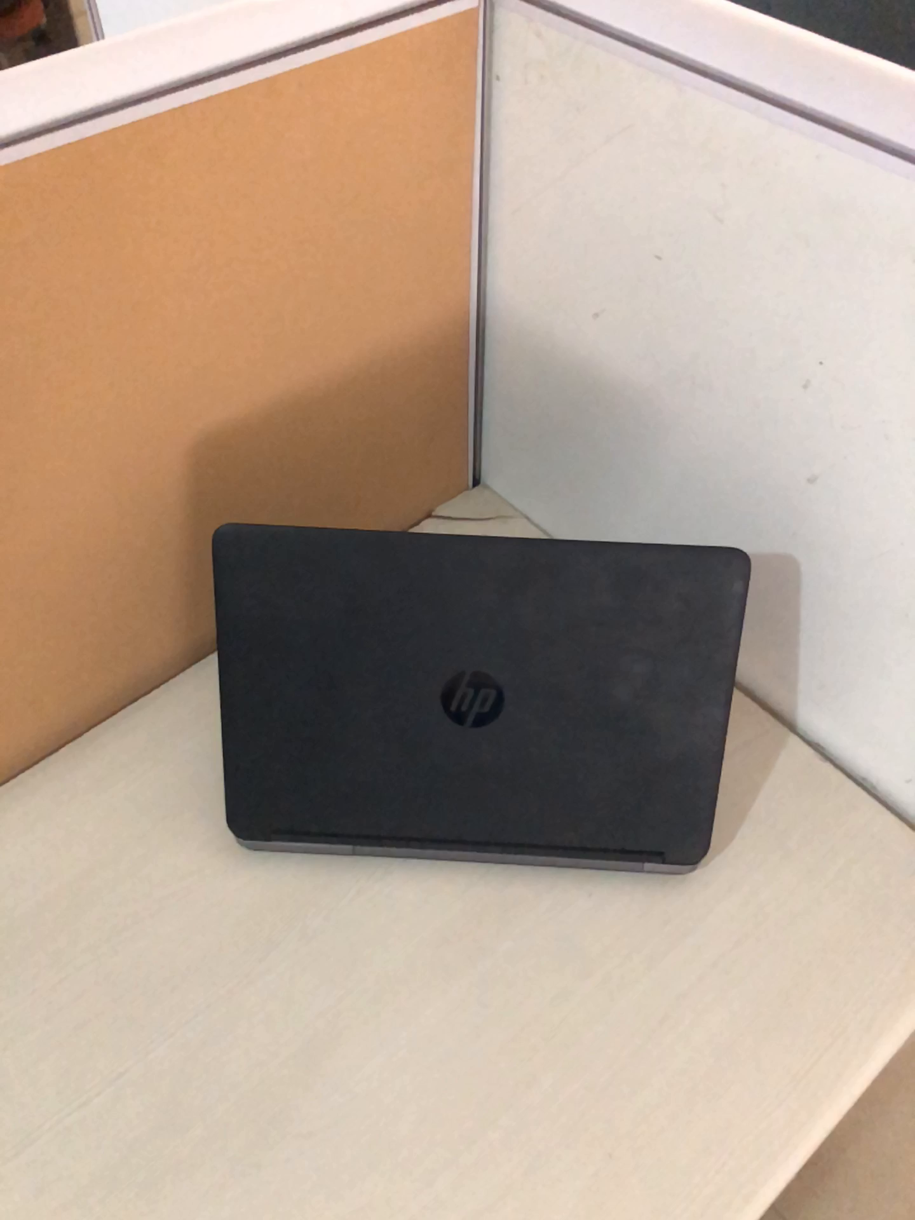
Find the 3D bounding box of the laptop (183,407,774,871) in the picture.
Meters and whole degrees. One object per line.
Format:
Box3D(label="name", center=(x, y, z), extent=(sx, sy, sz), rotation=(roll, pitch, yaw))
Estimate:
Box3D(label="laptop", center=(0.013, 0.020, 0.687), extent=(0.318, 0.193, 0.228), rotation=(3, 51, 1))
